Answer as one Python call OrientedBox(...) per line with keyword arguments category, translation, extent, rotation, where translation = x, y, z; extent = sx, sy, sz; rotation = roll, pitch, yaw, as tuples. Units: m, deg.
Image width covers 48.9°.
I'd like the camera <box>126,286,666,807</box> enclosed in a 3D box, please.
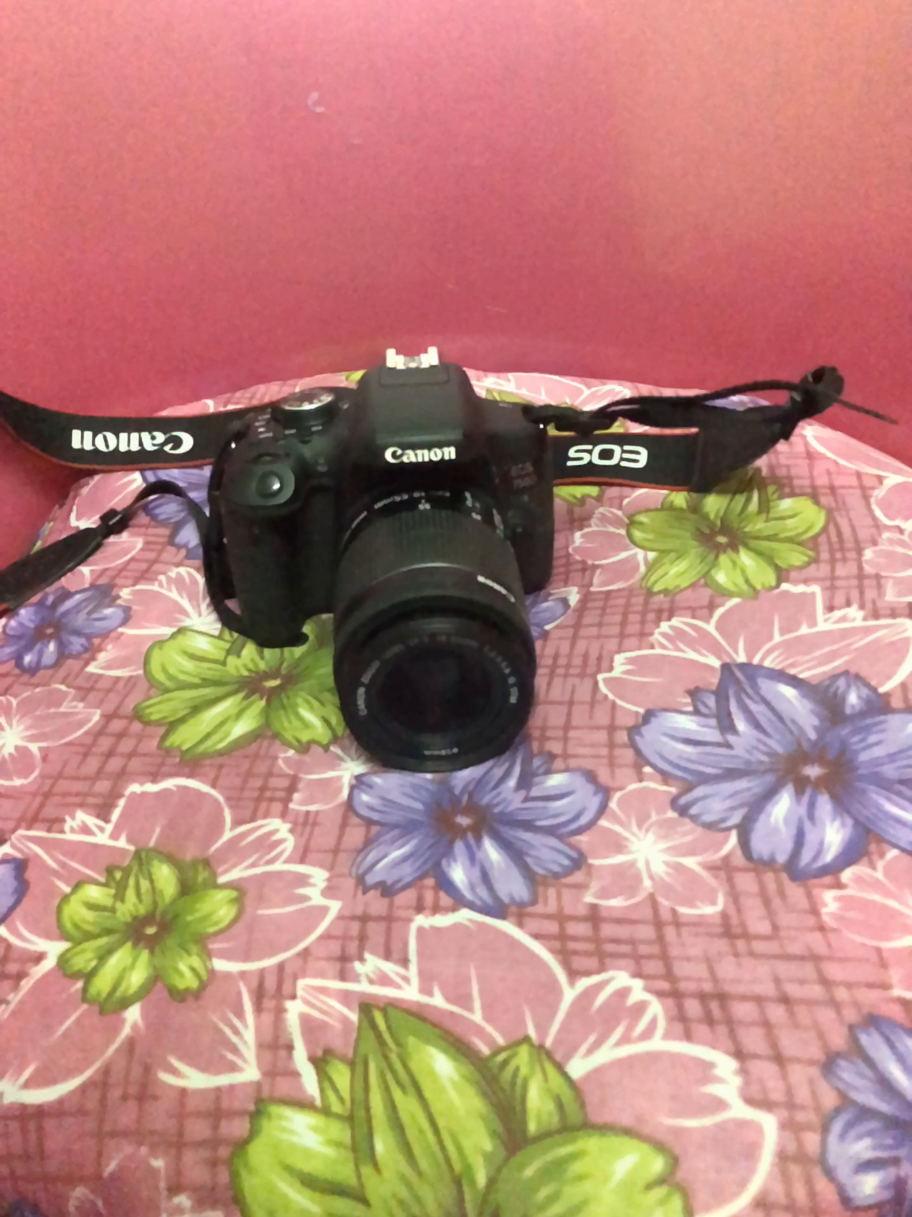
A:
OrientedBox(category="camera", translation=(-0.018, -0.030, 0.353), extent=(0.140, 0.099, 0.161), rotation=(-3, 40, -1))
